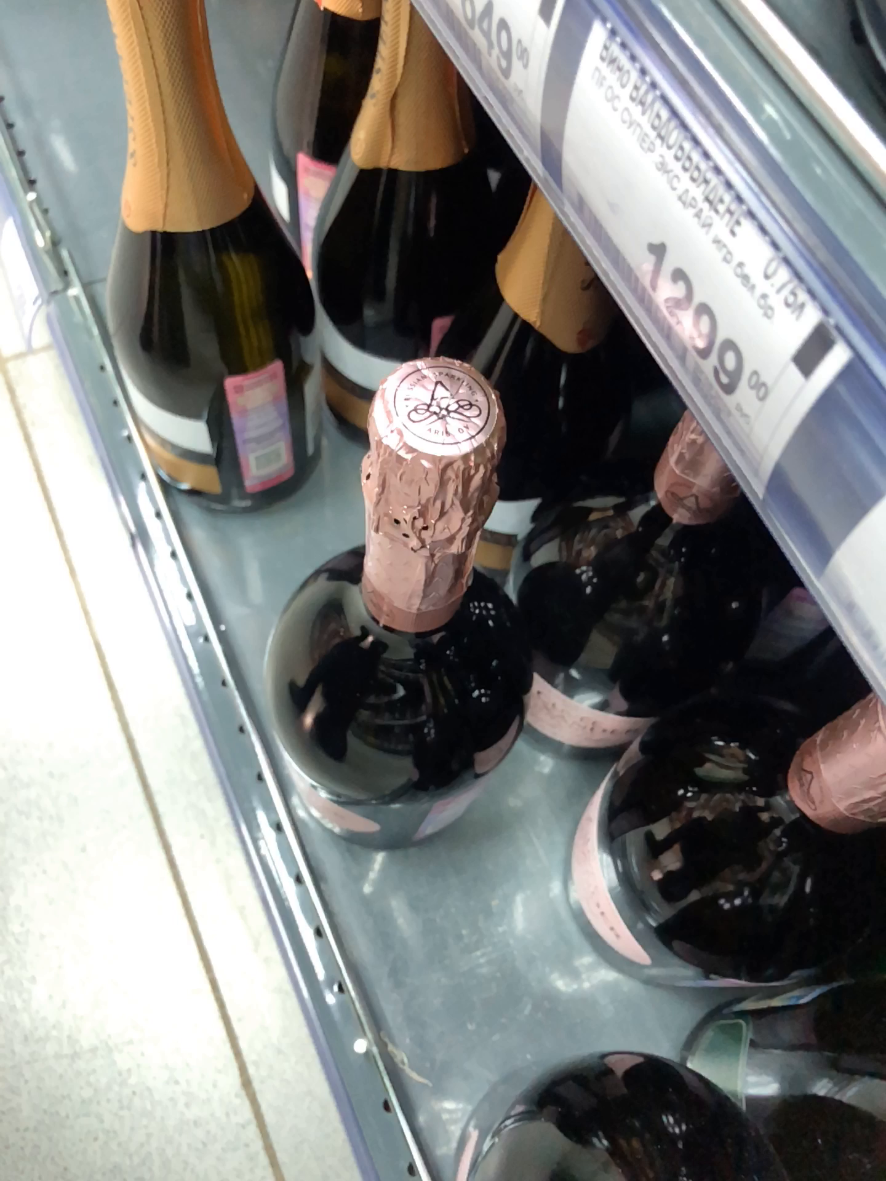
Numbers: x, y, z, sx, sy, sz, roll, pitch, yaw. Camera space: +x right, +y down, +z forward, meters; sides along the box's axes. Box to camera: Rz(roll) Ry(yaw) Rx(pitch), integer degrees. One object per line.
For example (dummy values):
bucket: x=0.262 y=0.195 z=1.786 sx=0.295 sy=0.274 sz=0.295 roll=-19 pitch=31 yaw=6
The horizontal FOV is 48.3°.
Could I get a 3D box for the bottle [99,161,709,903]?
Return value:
bottle: x=-0.022 y=0.016 z=0.339 sx=0.090 sy=0.279 sz=0.110 roll=-25 pitch=70 yaw=-16
